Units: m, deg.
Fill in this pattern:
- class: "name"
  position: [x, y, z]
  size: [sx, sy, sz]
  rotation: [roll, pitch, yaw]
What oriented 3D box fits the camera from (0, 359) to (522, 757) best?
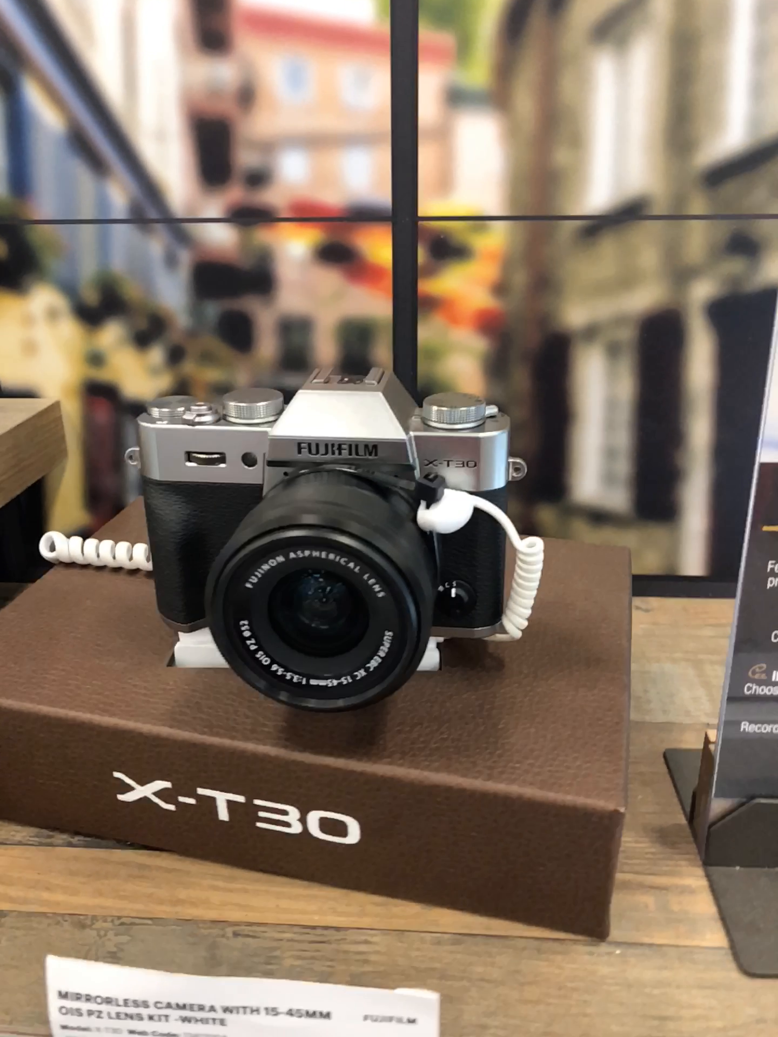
- class: "camera"
  position: [-0.029, 0.004, 0.259]
  size: [0.130, 0.080, 0.090]
  rotation: [3, 23, 8]
